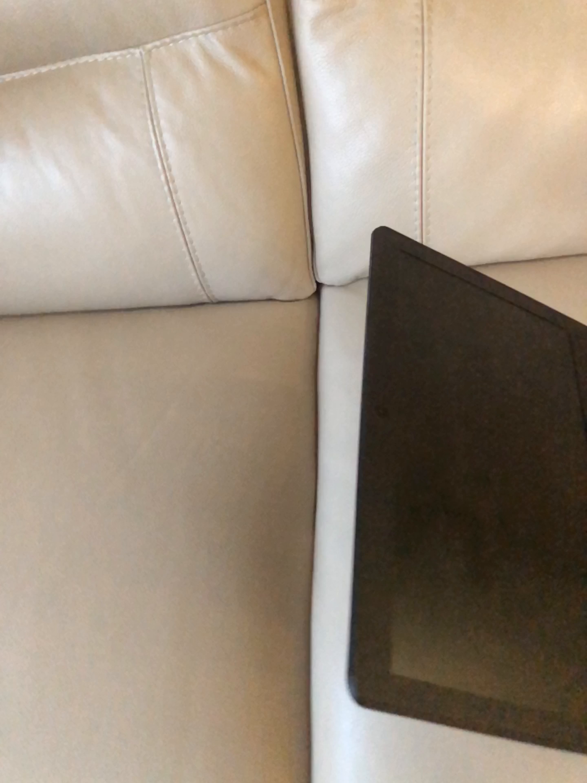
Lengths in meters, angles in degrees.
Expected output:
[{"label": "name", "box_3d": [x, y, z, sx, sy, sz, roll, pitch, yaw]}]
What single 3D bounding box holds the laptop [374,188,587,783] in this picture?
[{"label": "laptop", "box_3d": [0.244, 0.047, 0.382, 0.374, 0.125, 0.307, -2, 55, 14]}]
